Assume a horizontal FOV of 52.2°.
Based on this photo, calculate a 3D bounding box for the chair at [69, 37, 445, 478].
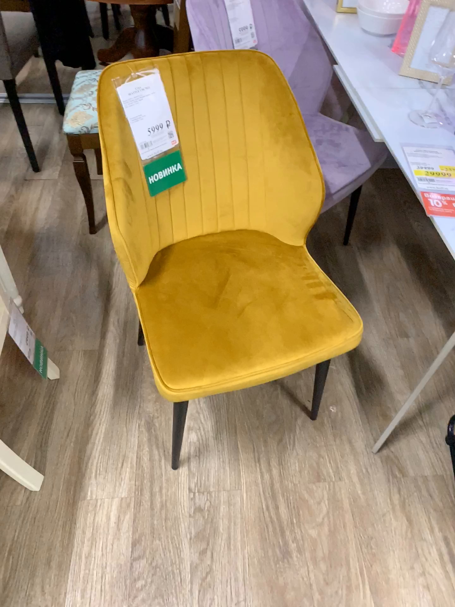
[{"bbox_3d":[-0.009,-0.063,1.143,0.501,0.886,0.502,-14,51,-17],"label":"chair"}]
